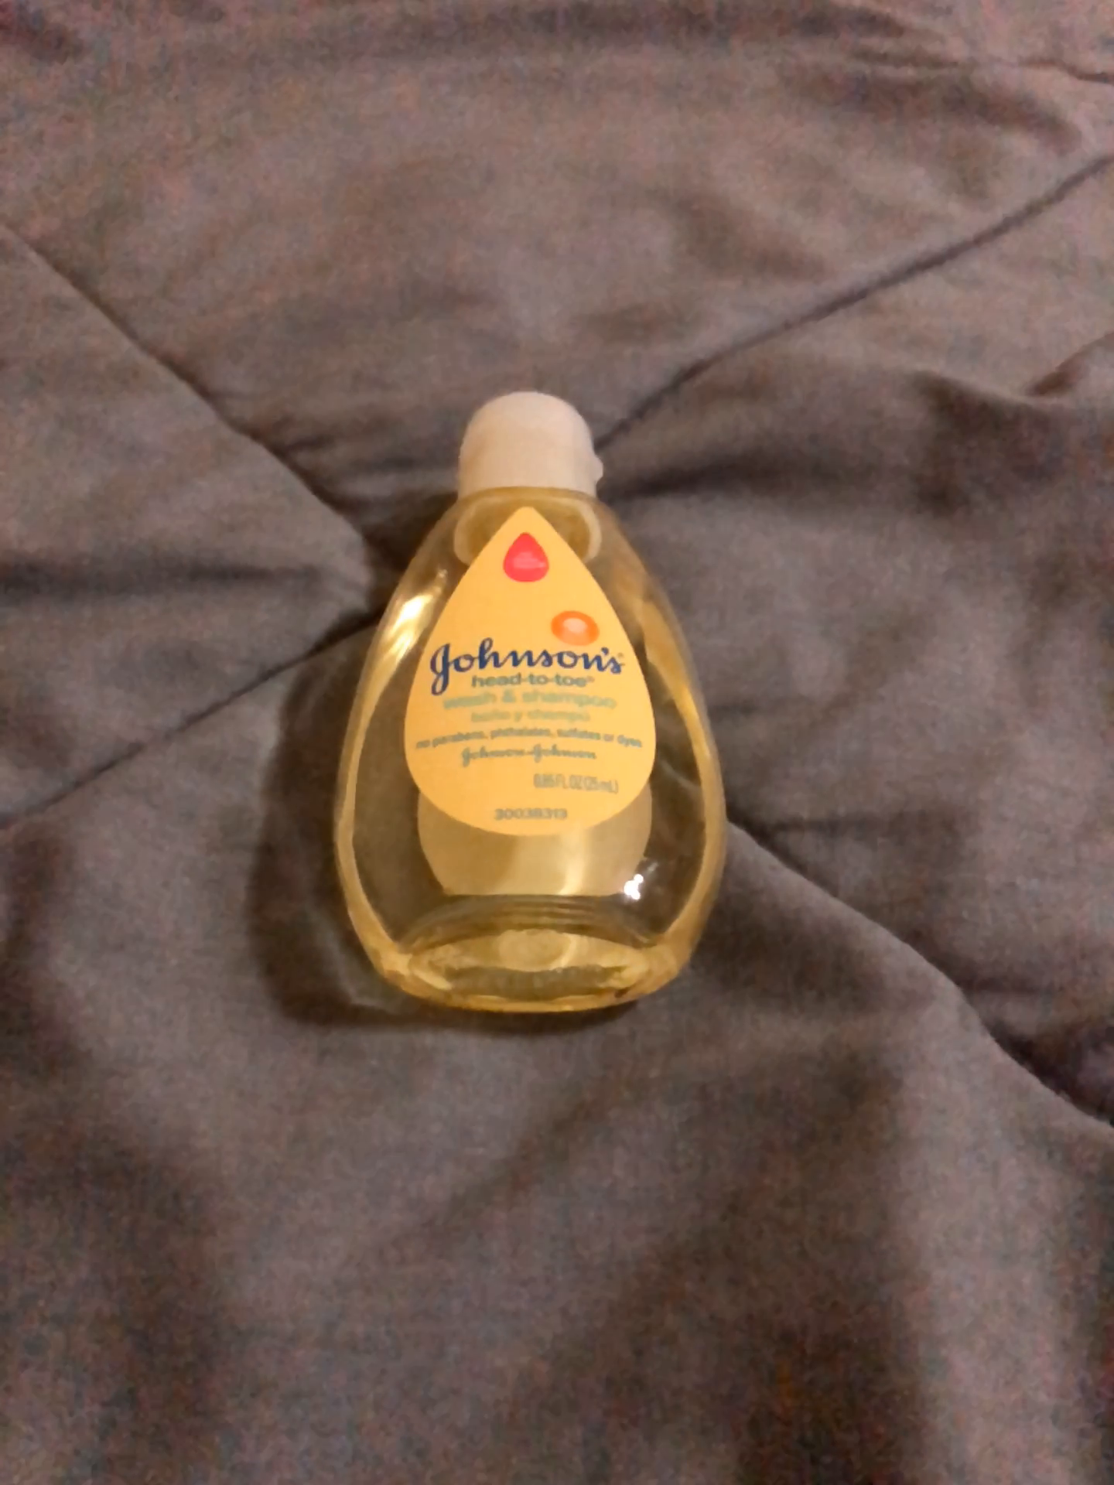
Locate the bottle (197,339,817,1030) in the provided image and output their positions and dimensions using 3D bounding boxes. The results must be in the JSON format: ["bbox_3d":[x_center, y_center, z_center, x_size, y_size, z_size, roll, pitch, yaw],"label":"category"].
[{"bbox_3d":[-0.005,-0.013,0.140,0.050,0.020,0.090,-1,45,0],"label":"bottle"}]
